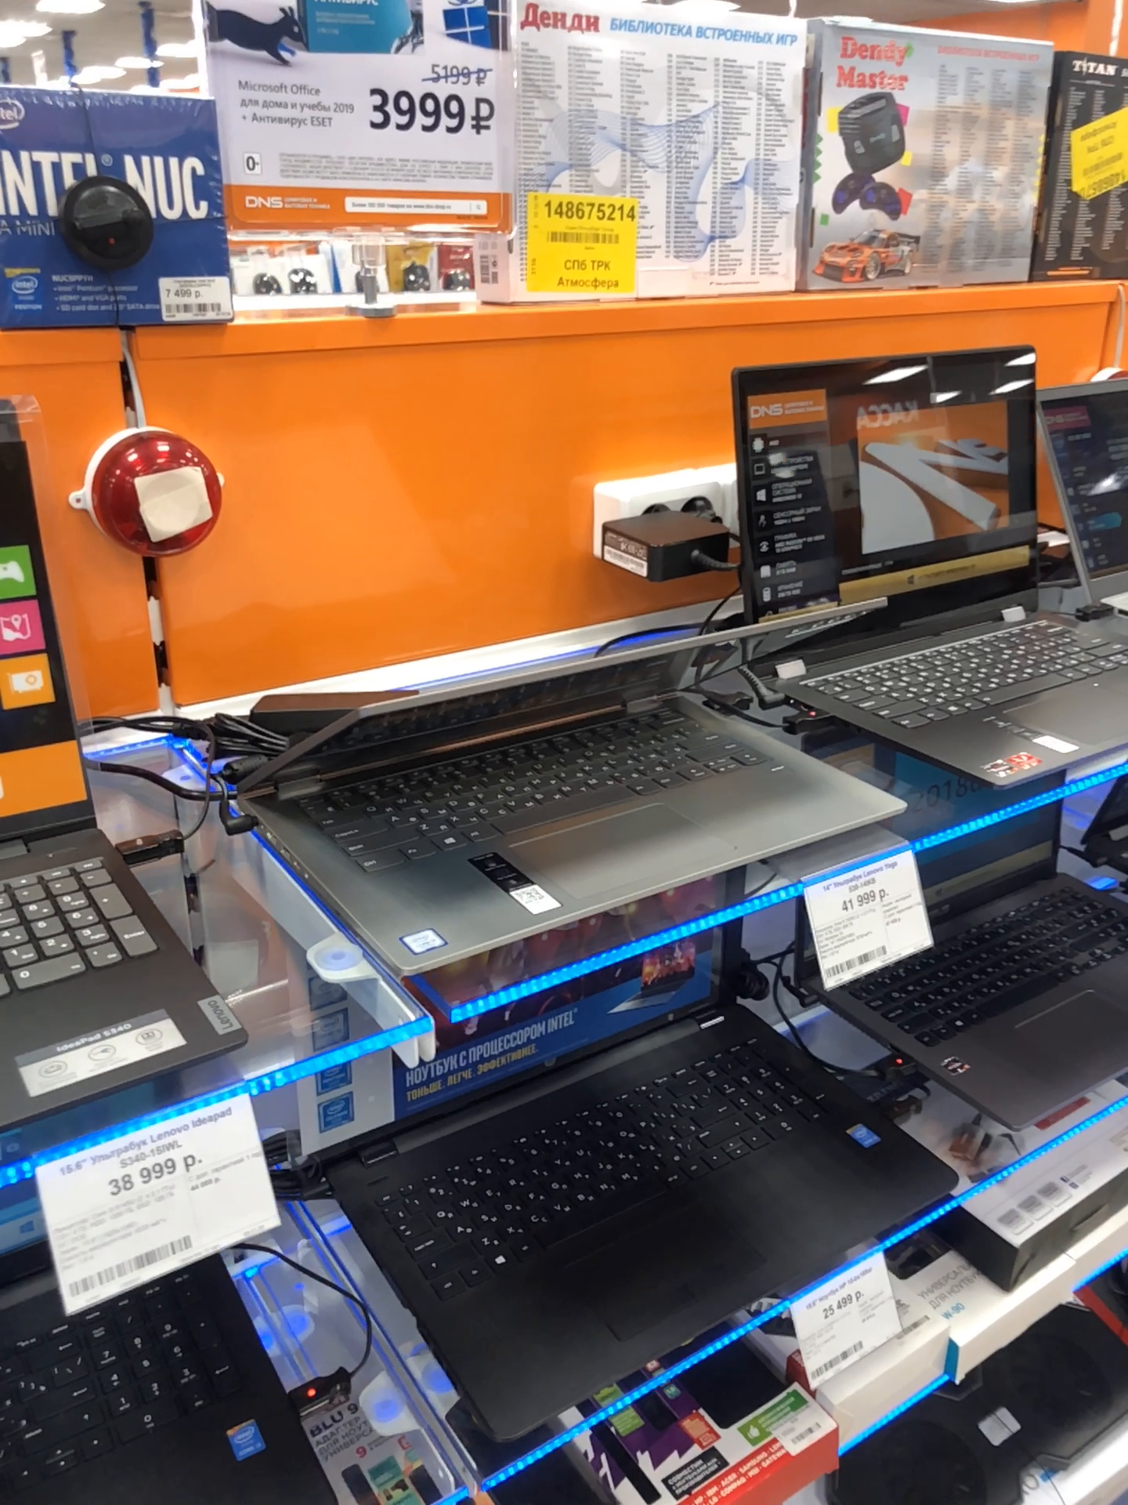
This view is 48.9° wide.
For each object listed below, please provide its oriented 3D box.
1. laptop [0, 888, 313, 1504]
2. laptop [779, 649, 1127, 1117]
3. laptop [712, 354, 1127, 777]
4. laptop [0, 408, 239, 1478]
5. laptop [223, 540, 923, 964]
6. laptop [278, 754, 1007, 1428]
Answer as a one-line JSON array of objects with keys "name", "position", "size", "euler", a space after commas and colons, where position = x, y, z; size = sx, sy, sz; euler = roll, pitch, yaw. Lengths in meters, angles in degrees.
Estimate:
[{"name": "laptop", "position": [-0.323, 0.267, 0.591], "size": [0.333, 0.222, 0.244], "euler": [-13, 29, -31]}, {"name": "laptop", "position": [0.399, 0.085, 1.024], "size": [0.329, 0.228, 0.235], "euler": [-15, 29, -31]}, {"name": "laptop", "position": [0.325, -0.154, 0.875], "size": [0.328, 0.210, 0.247], "euler": [-15, 28, -33]}, {"name": "laptop", "position": [-0.339, 0.006, 0.472], "size": [0.330, 0.219, 0.277], "euler": [-14, 27, -32]}, {"name": "laptop", "position": [0.004, -0.024, 0.691], "size": [0.314, 0.110, 0.210], "euler": [-14, 27, -30]}, {"name": "laptop", "position": [0.045, 0.183, 0.817], "size": [0.362, 0.223, 0.260], "euler": [-14, 27, -30]}]
